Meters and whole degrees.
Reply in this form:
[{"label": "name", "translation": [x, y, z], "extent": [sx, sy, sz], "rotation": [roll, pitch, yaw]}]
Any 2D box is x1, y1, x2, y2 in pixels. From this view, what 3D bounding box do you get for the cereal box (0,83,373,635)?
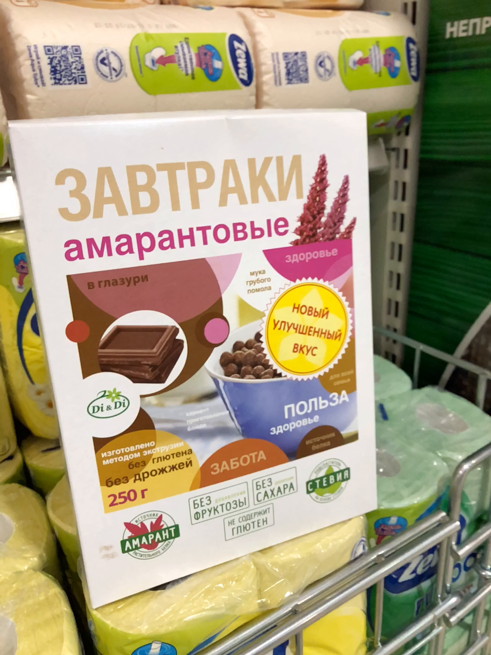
[{"label": "cereal box", "translation": [-0.027, 0.011, 0.315], "extent": [0.190, 0.269, 0.050], "rotation": [-11, 15, -21]}]
